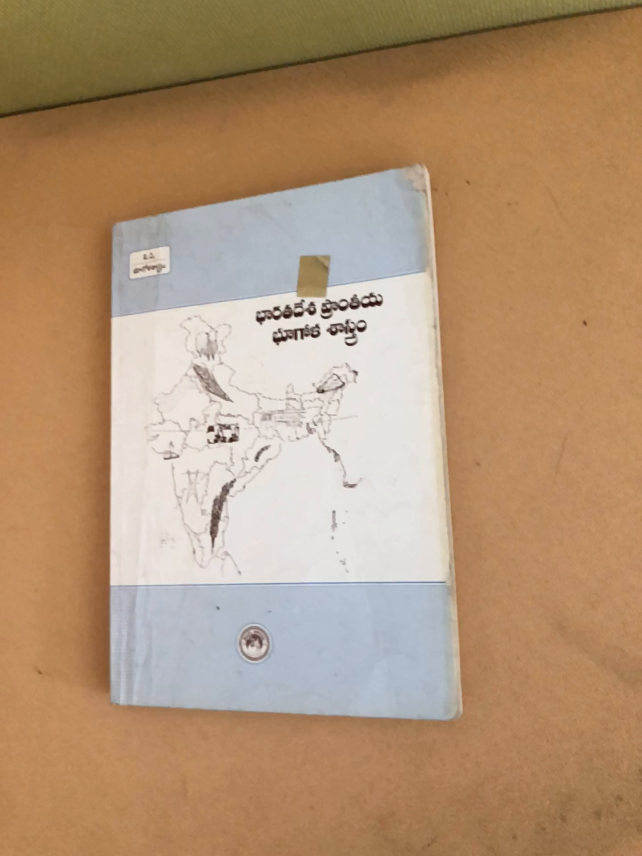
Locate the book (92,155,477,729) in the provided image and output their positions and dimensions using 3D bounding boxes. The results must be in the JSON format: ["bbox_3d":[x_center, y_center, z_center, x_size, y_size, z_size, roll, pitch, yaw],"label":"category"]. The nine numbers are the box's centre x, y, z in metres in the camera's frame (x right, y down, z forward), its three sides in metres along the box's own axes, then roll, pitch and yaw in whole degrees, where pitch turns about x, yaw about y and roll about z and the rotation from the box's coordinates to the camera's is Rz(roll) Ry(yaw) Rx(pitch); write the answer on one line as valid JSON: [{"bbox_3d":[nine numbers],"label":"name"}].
[{"bbox_3d":[-0.024,0.007,0.351,0.180,0.030,0.250,-4,81,18],"label":"book"}]
